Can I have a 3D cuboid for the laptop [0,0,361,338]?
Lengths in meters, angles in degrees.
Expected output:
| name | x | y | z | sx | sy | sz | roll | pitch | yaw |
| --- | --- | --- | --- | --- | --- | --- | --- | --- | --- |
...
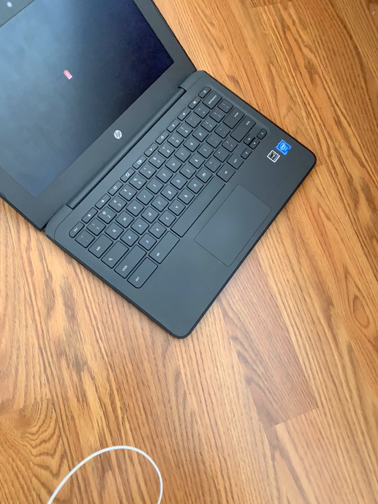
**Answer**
| name | x | y | z | sx | sy | sz | roll | pitch | yaw |
| --- | --- | --- | --- | --- | --- | --- | --- | --- | --- |
| laptop | -0.054 | -0.137 | 0.440 | 0.360 | 0.110 | 0.299 | 37 | 73 | 3 |
